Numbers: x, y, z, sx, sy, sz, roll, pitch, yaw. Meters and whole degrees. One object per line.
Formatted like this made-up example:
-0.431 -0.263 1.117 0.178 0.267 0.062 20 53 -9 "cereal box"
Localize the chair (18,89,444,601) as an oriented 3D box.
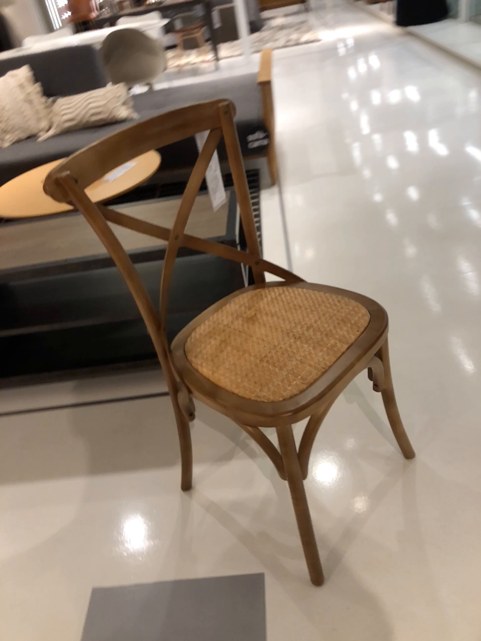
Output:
0.042 0.017 1.168 0.572 0.863 0.502 20 45 38 "chair"
